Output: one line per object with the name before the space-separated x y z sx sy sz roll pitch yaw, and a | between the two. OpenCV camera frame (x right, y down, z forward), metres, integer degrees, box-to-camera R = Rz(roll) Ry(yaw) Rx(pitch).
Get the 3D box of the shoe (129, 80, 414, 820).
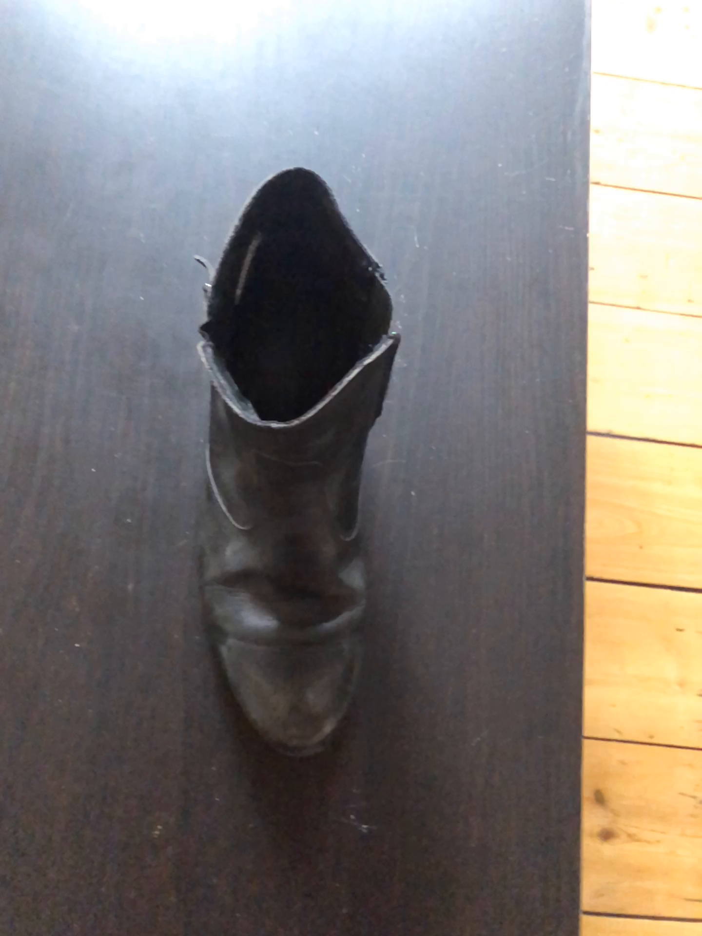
shoe | -0.031 -0.001 0.359 0.090 0.170 0.270 1 77 -4
